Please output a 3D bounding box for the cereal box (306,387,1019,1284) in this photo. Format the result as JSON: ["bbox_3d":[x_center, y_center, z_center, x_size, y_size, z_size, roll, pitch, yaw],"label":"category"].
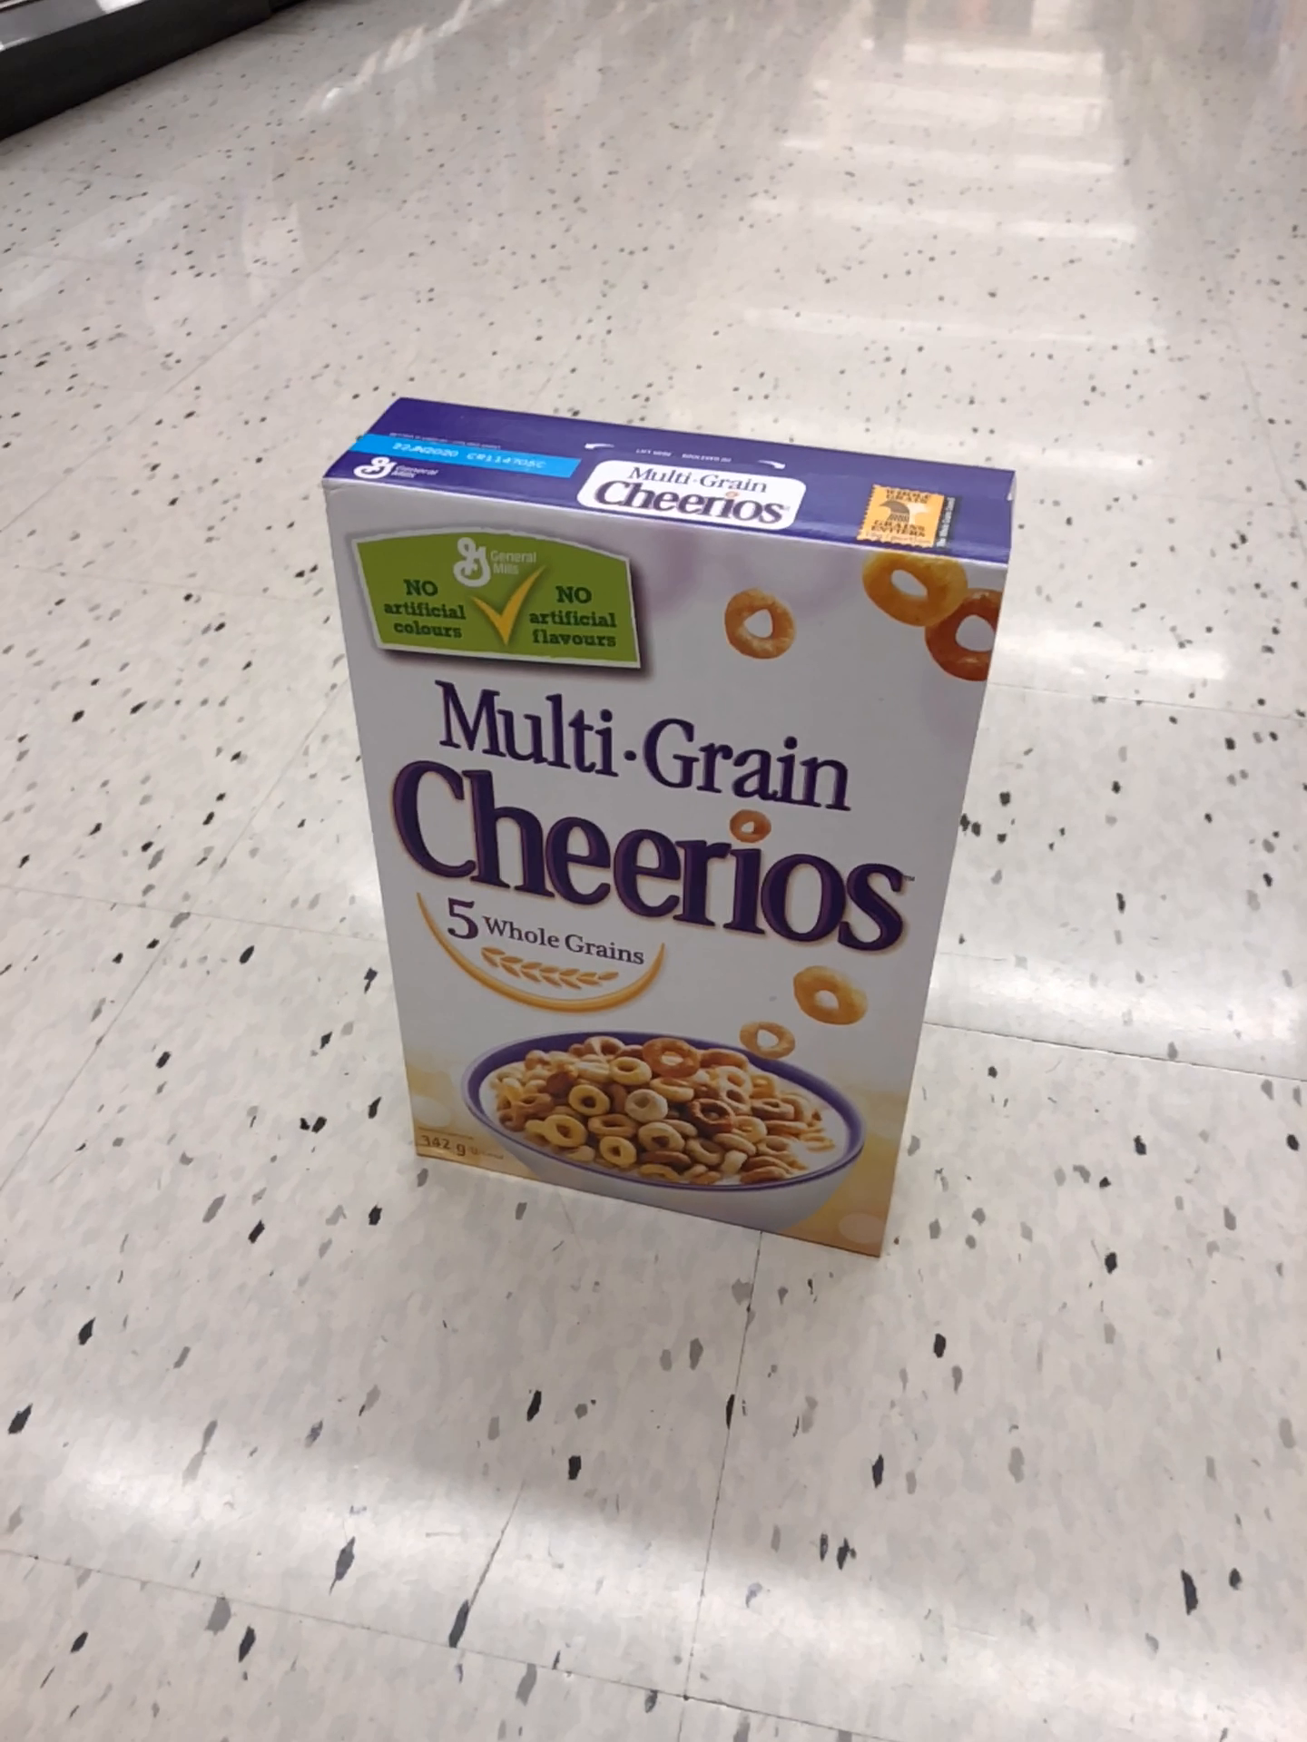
[{"bbox_3d":[0.001,0.006,0.497,0.190,0.308,0.060,10,40,10],"label":"cereal box"}]
